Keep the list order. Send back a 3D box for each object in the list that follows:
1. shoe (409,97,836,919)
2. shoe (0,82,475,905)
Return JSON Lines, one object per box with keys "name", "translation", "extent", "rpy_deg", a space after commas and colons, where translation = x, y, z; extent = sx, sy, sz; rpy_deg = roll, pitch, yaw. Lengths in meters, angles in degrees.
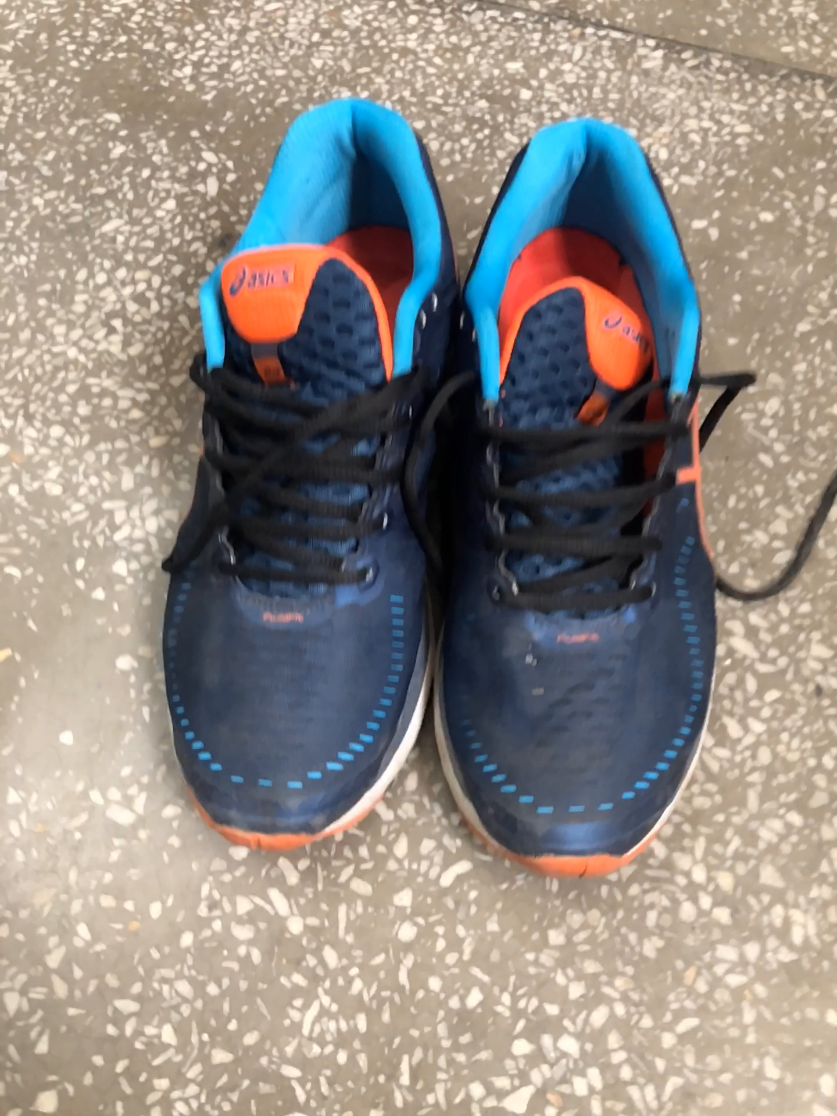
{"name": "shoe", "translation": [0.062, -0.028, 0.345], "extent": [0.118, 0.100, 0.288], "rpy_deg": [2, 63, 1]}
{"name": "shoe", "translation": [-0.047, -0.033, 0.347], "extent": [0.118, 0.100, 0.288], "rpy_deg": [4, 63, 2]}
